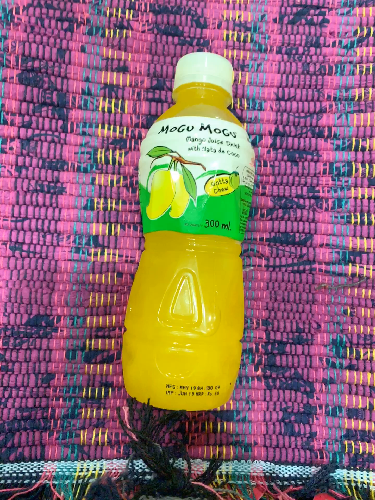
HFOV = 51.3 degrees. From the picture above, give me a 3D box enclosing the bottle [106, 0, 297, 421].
[{"bbox_3d":[0.004,-0.018,0.172,0.060,0.060,0.160,5,85,-7],"label":"bottle"}]
